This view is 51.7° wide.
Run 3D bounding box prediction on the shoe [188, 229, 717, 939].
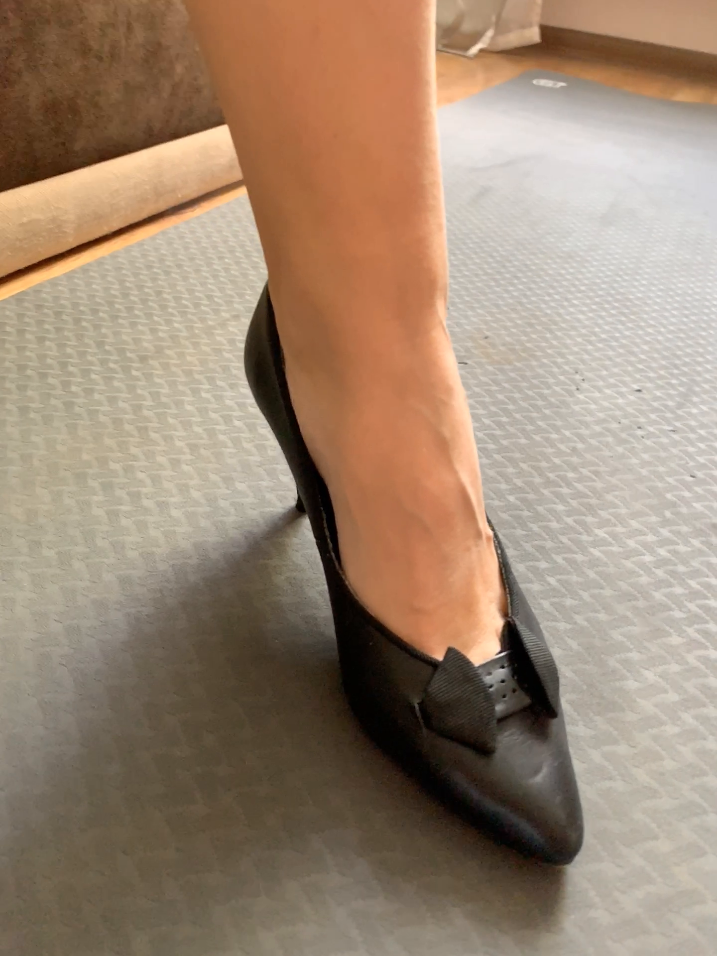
[{"bbox_3d":[0.023,0.006,0.261,0.090,0.099,0.231,-14,43,-26],"label":"shoe"}]
